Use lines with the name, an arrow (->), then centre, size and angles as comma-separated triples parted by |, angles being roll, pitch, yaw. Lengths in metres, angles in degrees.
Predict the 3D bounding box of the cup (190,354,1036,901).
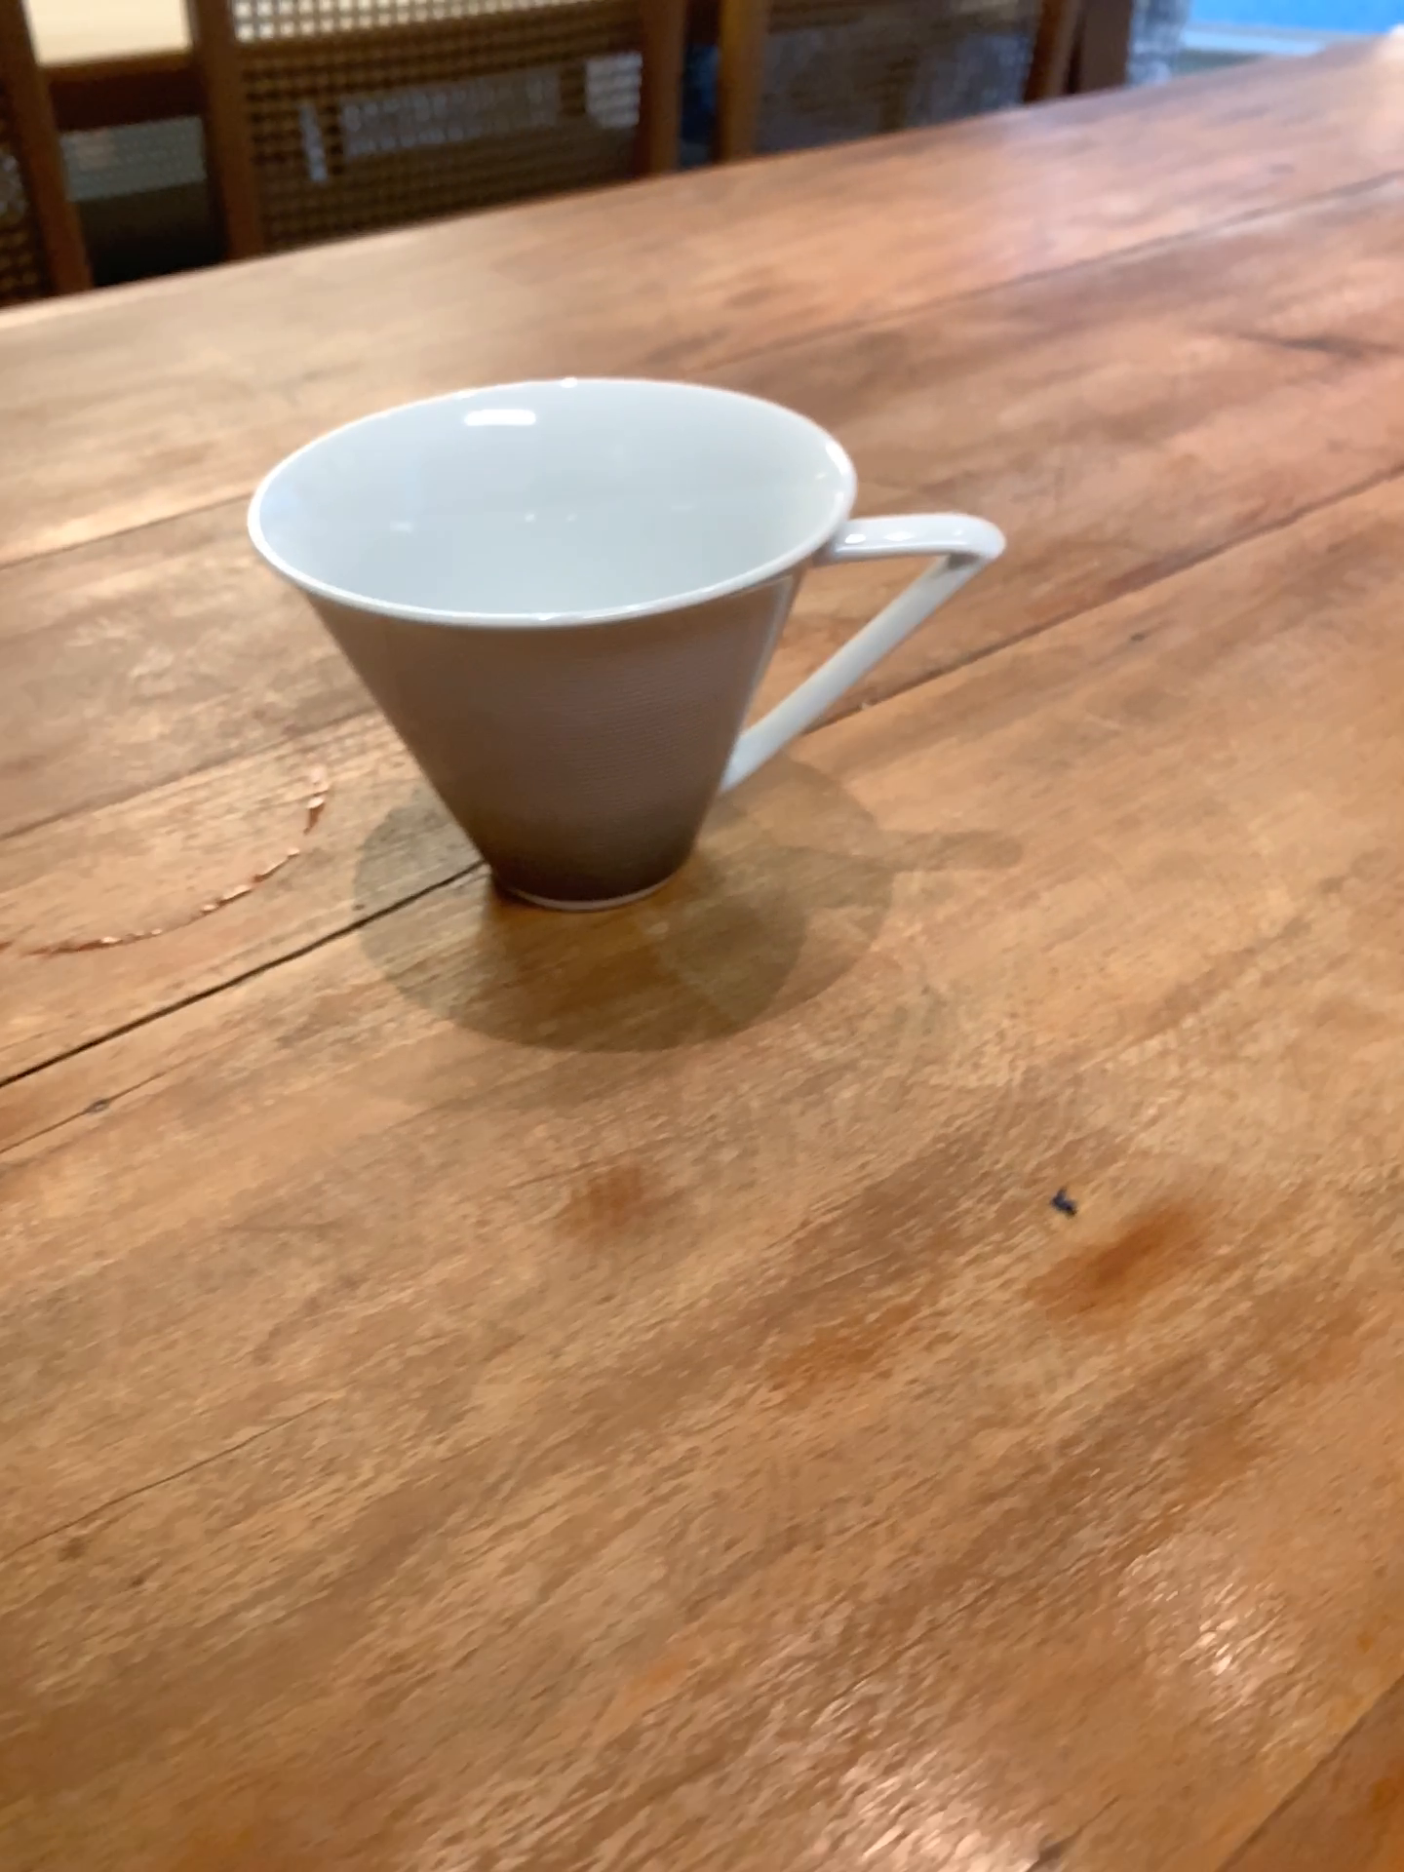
cup -> -0.011, -0.058, 0.262 | 0.120, 0.060, 0.091 | 0, 39, 2
